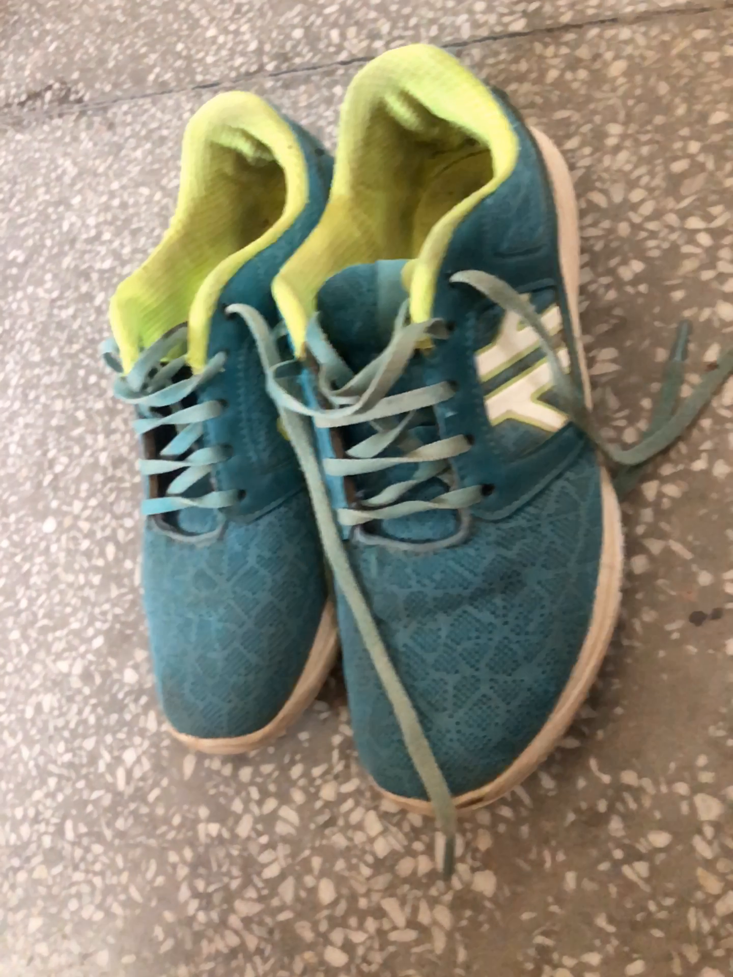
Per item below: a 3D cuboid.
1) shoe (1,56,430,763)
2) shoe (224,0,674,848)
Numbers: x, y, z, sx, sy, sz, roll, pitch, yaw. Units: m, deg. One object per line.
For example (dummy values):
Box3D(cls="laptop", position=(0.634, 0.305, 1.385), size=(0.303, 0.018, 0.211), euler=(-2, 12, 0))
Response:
Box3D(cls="shoe", position=(-0.046, -0.022, 0.310), size=(0.091, 0.091, 0.230), euler=(-4, 72, 31))
Box3D(cls="shoe", position=(0.033, -0.021, 0.257), size=(0.095, 0.088, 0.229), euler=(-6, 71, 30))
